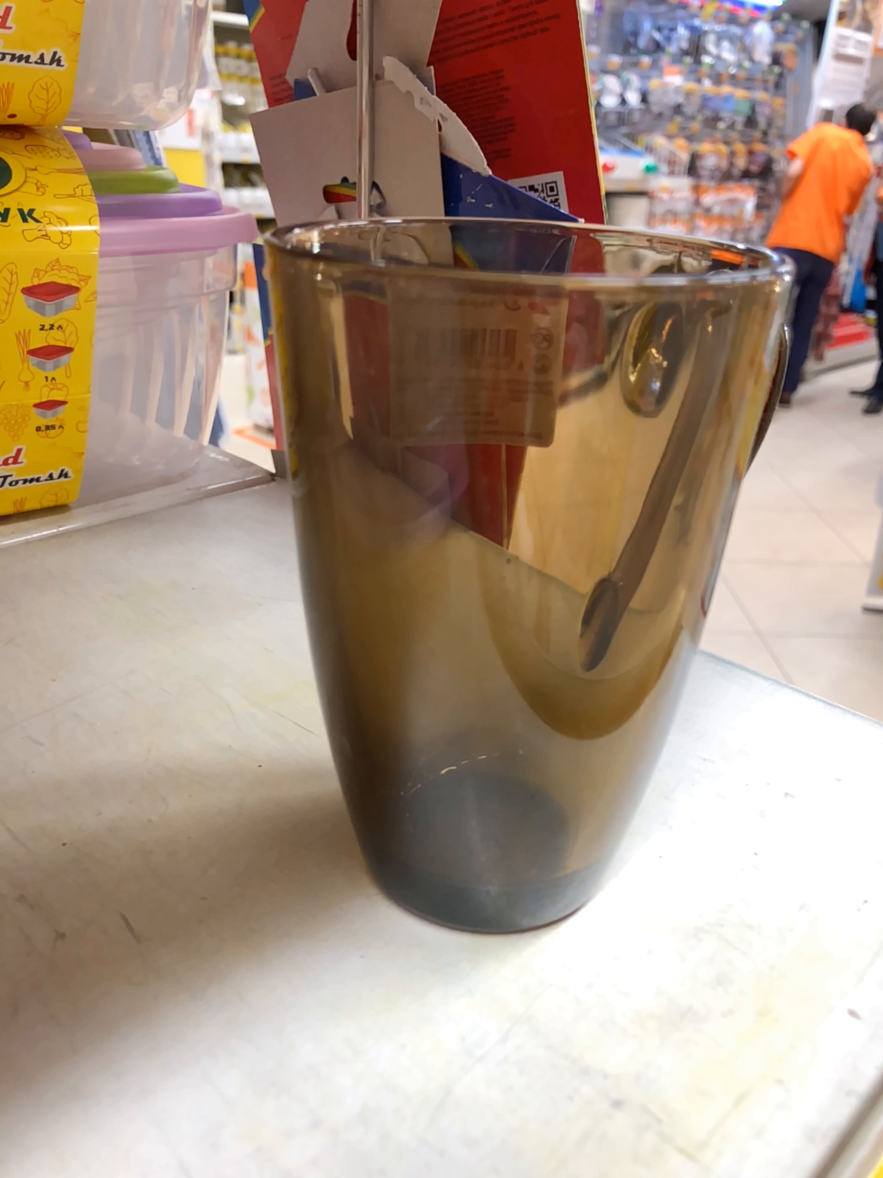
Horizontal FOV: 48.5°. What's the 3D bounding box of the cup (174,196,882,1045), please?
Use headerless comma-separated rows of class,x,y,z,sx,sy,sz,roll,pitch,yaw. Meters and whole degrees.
cup,0.025,-0.011,0.172,0.072,0.096,0.112,19,31,30
